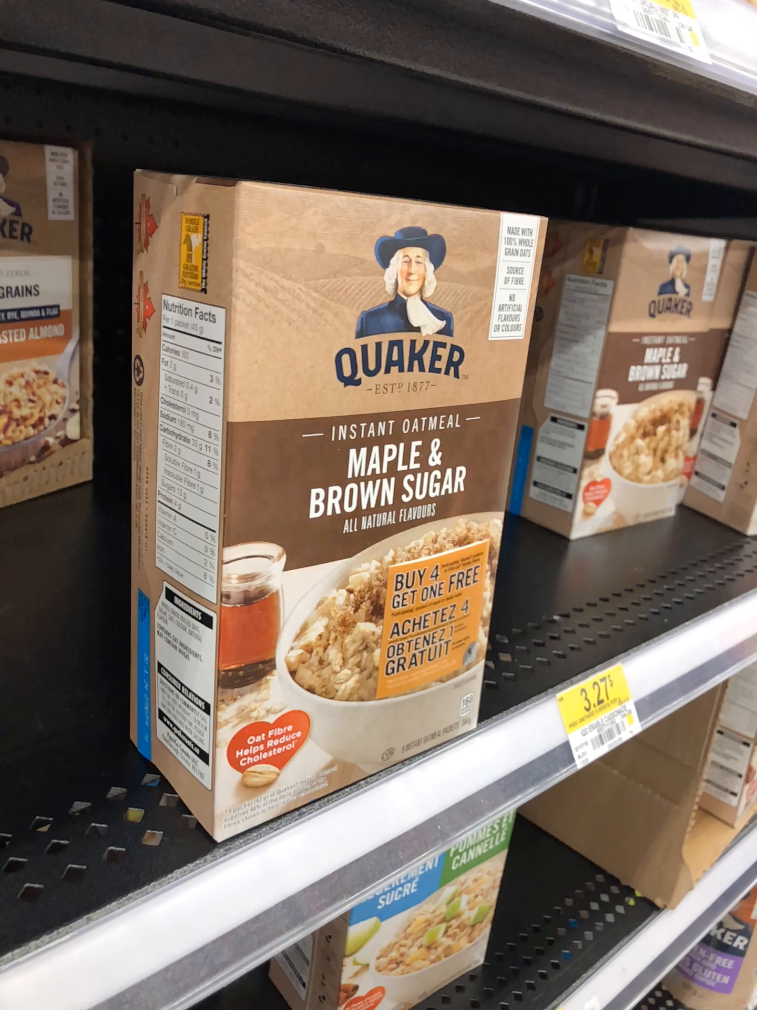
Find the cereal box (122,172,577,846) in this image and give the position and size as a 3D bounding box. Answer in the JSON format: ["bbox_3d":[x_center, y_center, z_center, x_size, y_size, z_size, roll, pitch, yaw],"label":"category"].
[{"bbox_3d":[-0.013,-0.005,0.286,0.130,0.189,0.060,-10,24,-39],"label":"cereal box"}]

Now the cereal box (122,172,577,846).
[{"bbox_3d":[-0.013,-0.005,0.286,0.130,0.189,0.060,-10,24,-39],"label":"cereal box"}]
